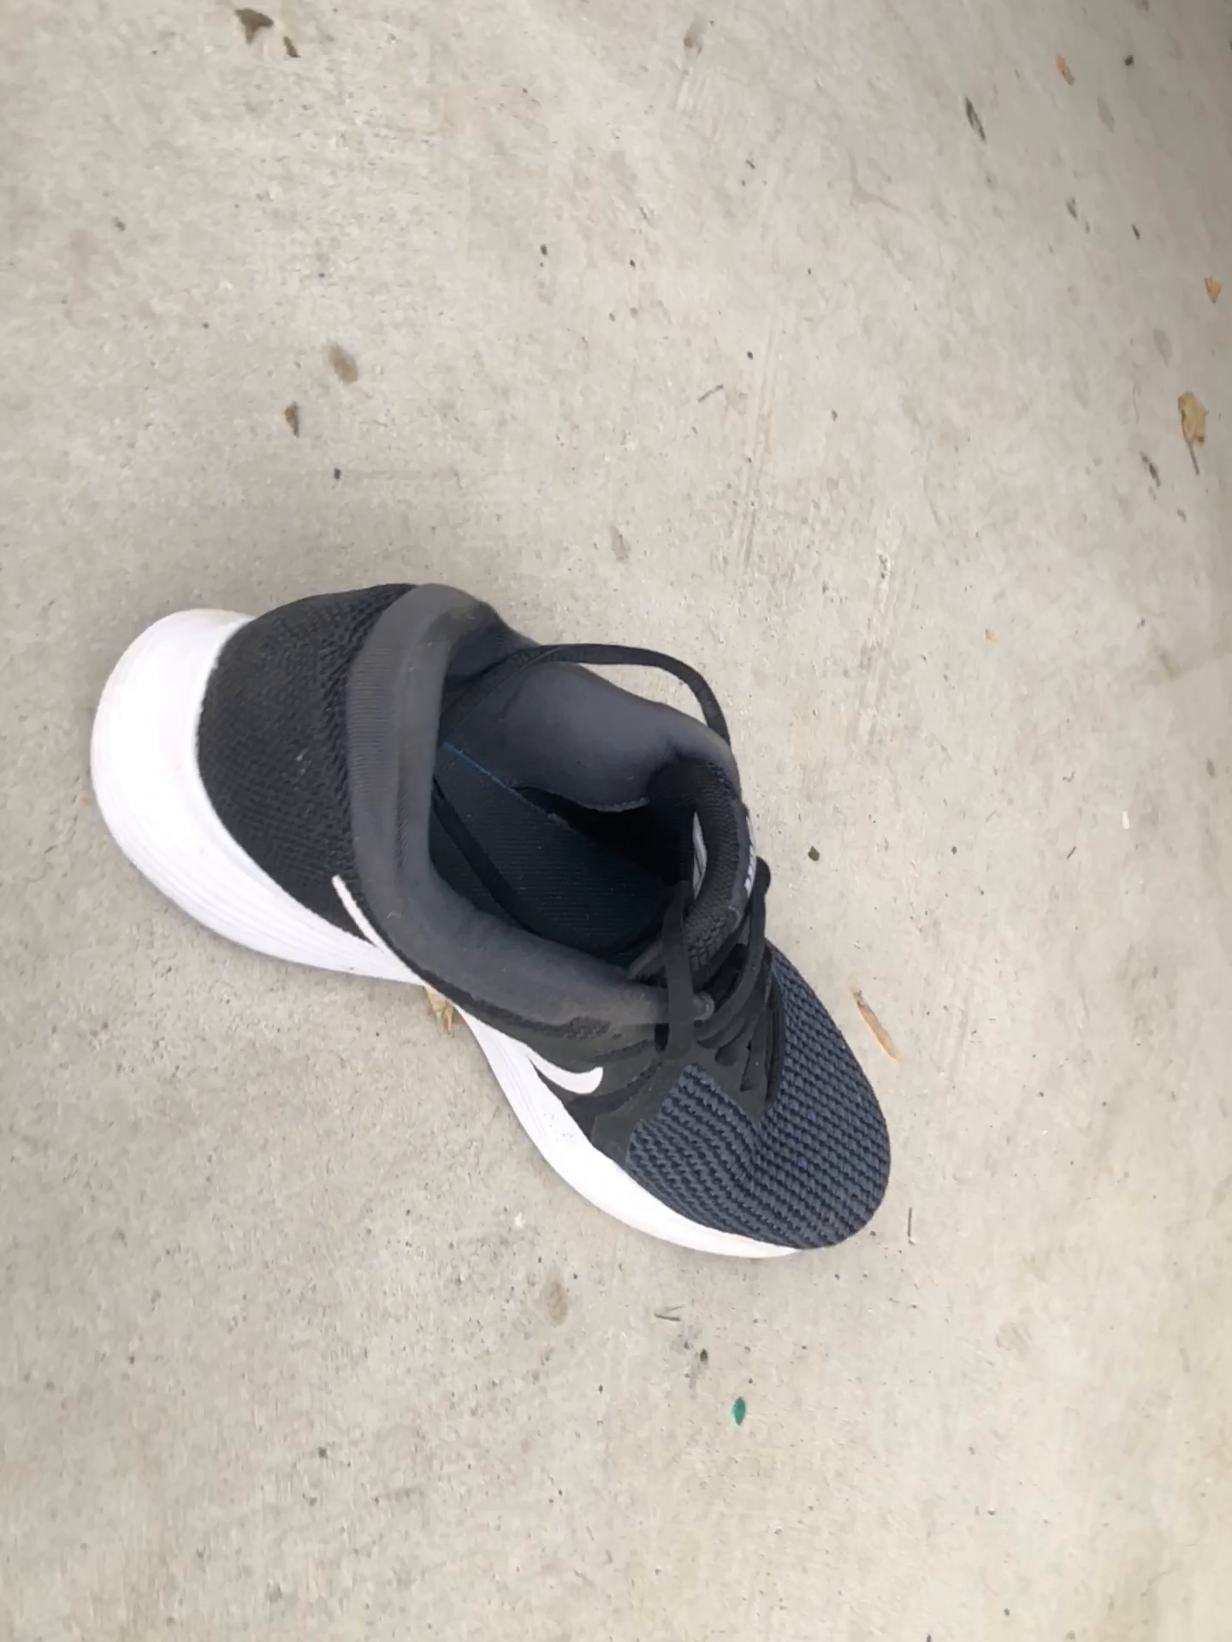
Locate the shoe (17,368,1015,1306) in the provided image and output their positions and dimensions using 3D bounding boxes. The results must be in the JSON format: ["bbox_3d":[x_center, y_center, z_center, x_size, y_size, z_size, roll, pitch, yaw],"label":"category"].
[{"bbox_3d":[0.000,0.031,0.410,0.291,0.099,0.130,40,50,-33],"label":"shoe"}]
